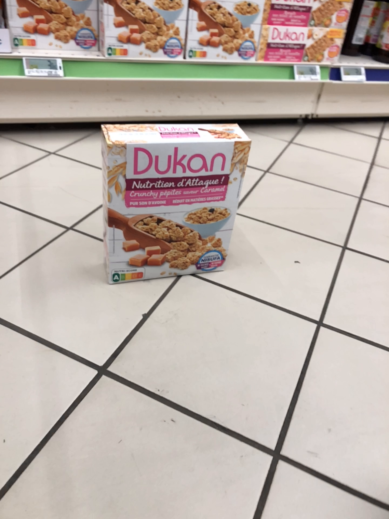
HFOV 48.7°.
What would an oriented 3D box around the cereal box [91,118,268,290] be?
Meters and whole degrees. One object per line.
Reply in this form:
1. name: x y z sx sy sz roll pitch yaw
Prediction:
1. cereal box: -0.026 -0.069 0.542 0.190 0.199 0.060 -6 38 -19
